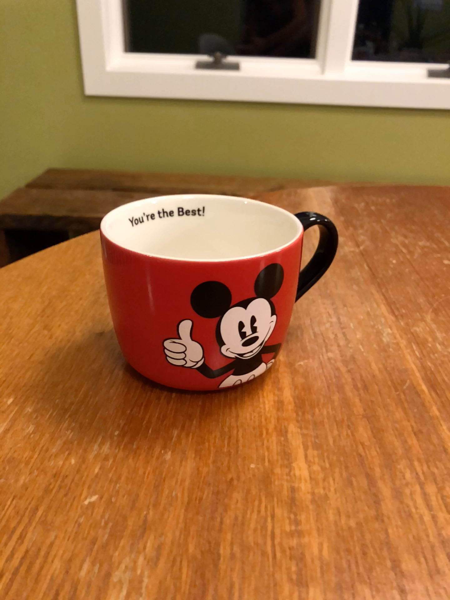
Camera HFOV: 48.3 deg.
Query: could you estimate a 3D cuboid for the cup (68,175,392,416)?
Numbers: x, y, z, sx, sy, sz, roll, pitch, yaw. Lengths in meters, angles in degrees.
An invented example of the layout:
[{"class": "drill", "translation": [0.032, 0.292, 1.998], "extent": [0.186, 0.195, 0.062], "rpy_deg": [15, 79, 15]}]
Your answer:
[{"class": "cup", "translation": [0.004, -0.017, 0.286], "extent": [0.143, 0.069, 0.103], "rpy_deg": [-19, 34, -35]}]
